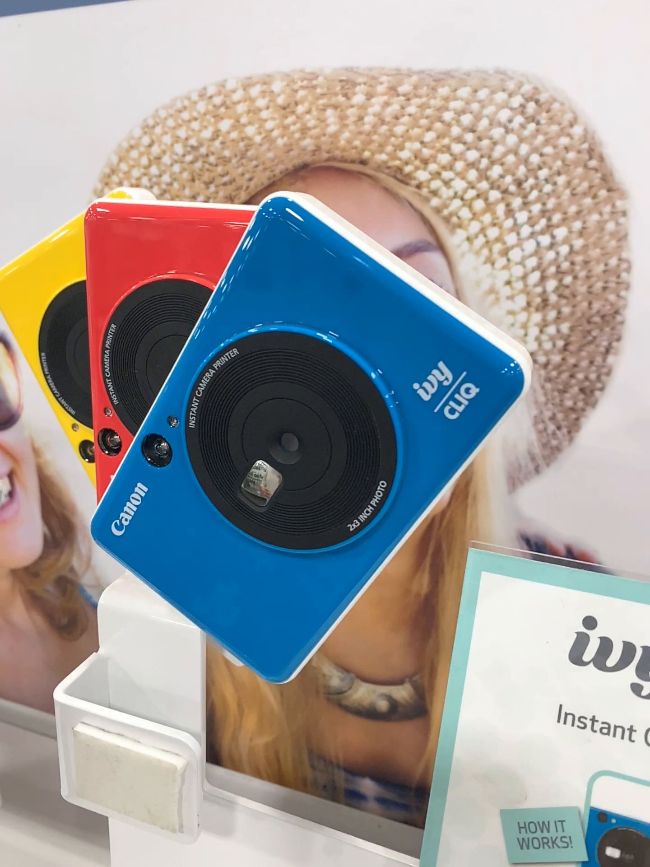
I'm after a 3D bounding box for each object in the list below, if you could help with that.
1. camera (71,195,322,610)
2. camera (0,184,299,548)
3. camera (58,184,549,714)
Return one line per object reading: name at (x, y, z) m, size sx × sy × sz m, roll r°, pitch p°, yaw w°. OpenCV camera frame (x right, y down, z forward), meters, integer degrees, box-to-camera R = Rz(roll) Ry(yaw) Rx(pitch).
camera at (-0.040, -0.011, 0.223) m, size 0.067 × 0.123 × 0.030 m, roll 11°, pitch 24°, yaw 21°
camera at (-0.071, -0.022, 0.266) m, size 0.068 × 0.123 × 0.030 m, roll -19°, pitch 15°, yaw 31°
camera at (-0.011, 0.007, 0.180) m, size 0.078 × 0.113 × 0.030 m, roll 37°, pitch 26°, yaw 4°
